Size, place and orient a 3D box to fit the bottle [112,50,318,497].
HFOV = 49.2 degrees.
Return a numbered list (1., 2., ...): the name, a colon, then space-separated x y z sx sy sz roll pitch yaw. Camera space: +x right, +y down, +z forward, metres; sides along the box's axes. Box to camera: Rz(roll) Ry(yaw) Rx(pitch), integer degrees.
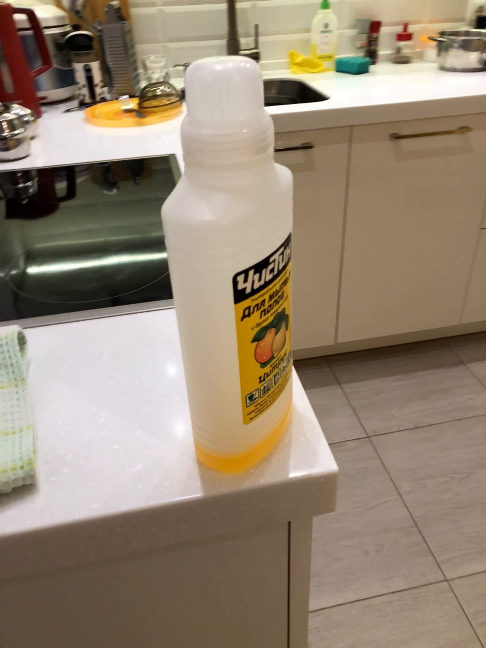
1. bottle: -0.005 -0.024 0.347 0.061 0.264 0.102 16 37 26
